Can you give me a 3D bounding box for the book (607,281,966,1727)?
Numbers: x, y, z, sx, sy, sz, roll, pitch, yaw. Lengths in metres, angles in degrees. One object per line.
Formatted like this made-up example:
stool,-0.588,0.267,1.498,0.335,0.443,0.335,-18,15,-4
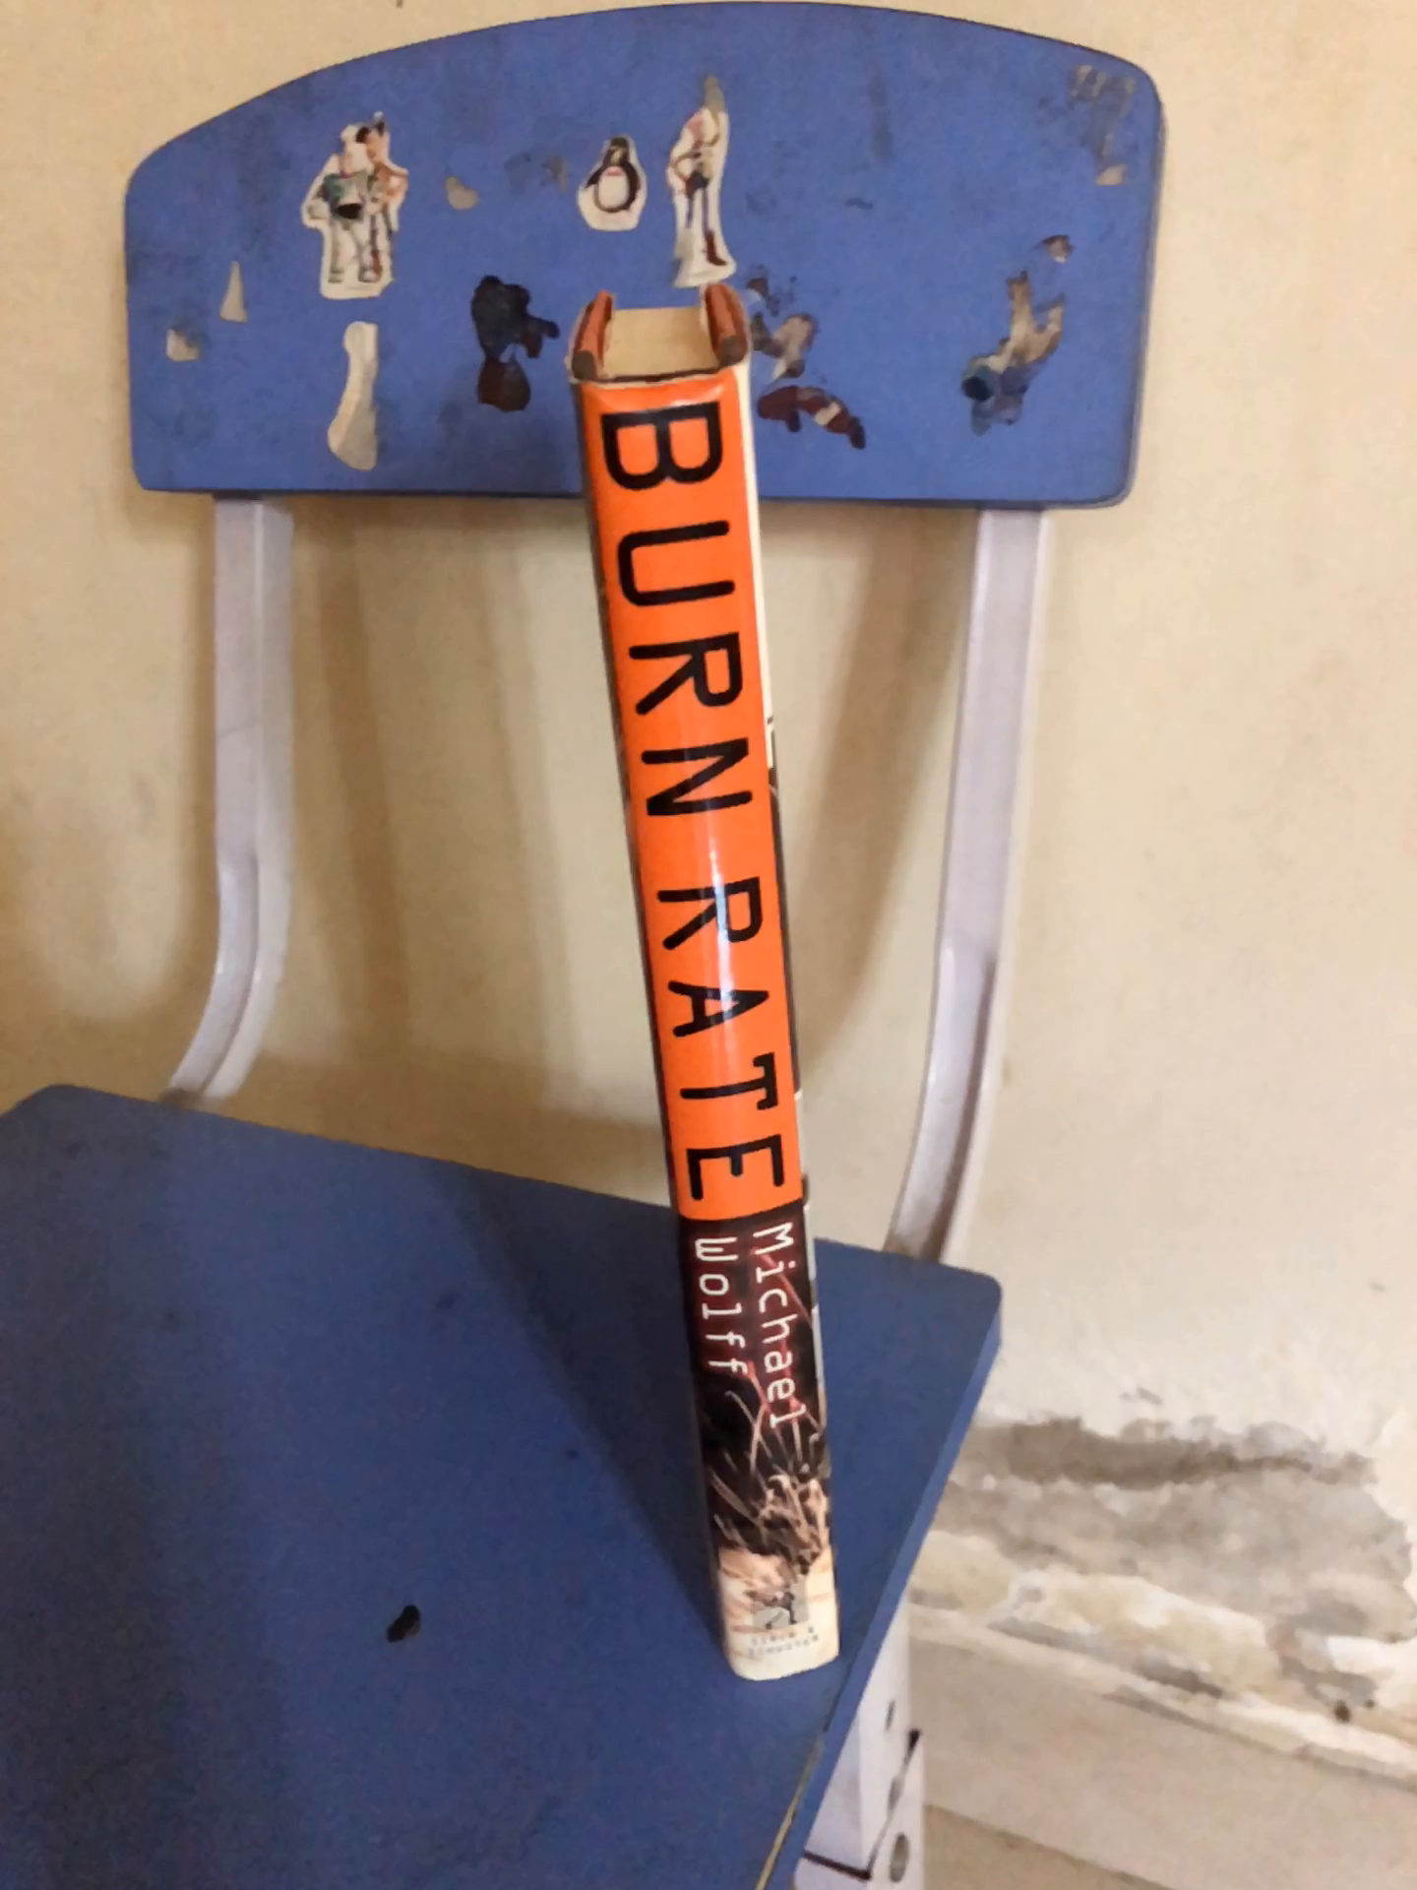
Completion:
book,0.012,-0.007,0.336,0.040,0.239,0.201,-6,24,-1
